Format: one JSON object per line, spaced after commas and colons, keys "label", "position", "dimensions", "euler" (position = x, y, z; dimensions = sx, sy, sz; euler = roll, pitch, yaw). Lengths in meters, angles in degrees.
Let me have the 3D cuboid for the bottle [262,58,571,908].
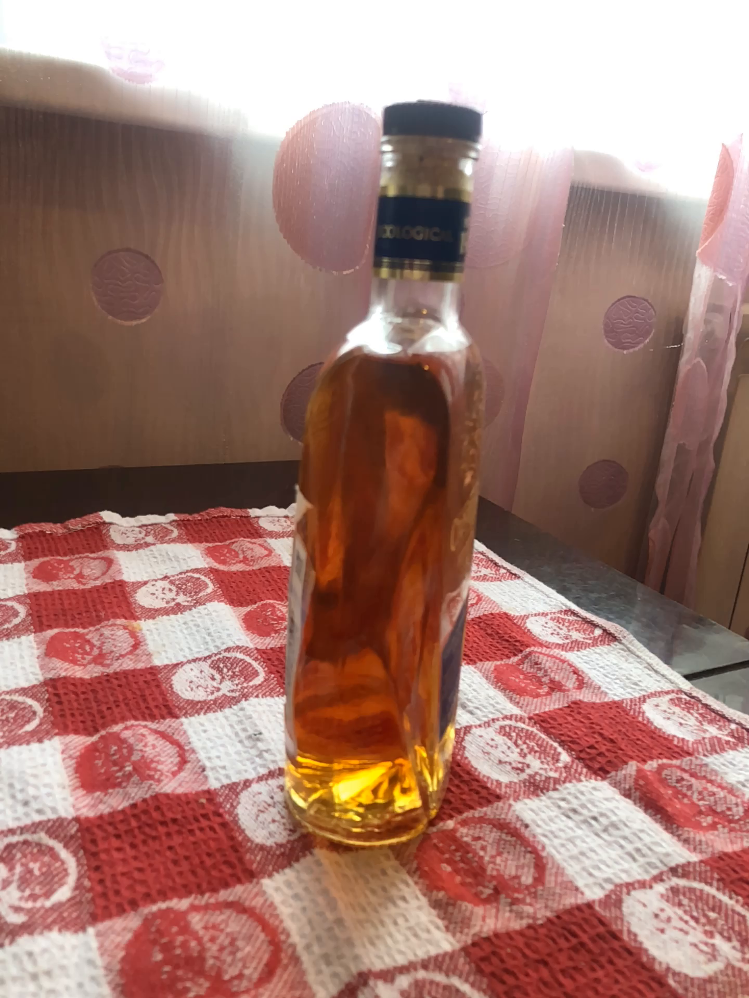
{"label": "bottle", "position": [0.016, -0.006, 0.262], "dimensions": [0.050, 0.219, 0.110], "euler": [10, 17, 15]}
